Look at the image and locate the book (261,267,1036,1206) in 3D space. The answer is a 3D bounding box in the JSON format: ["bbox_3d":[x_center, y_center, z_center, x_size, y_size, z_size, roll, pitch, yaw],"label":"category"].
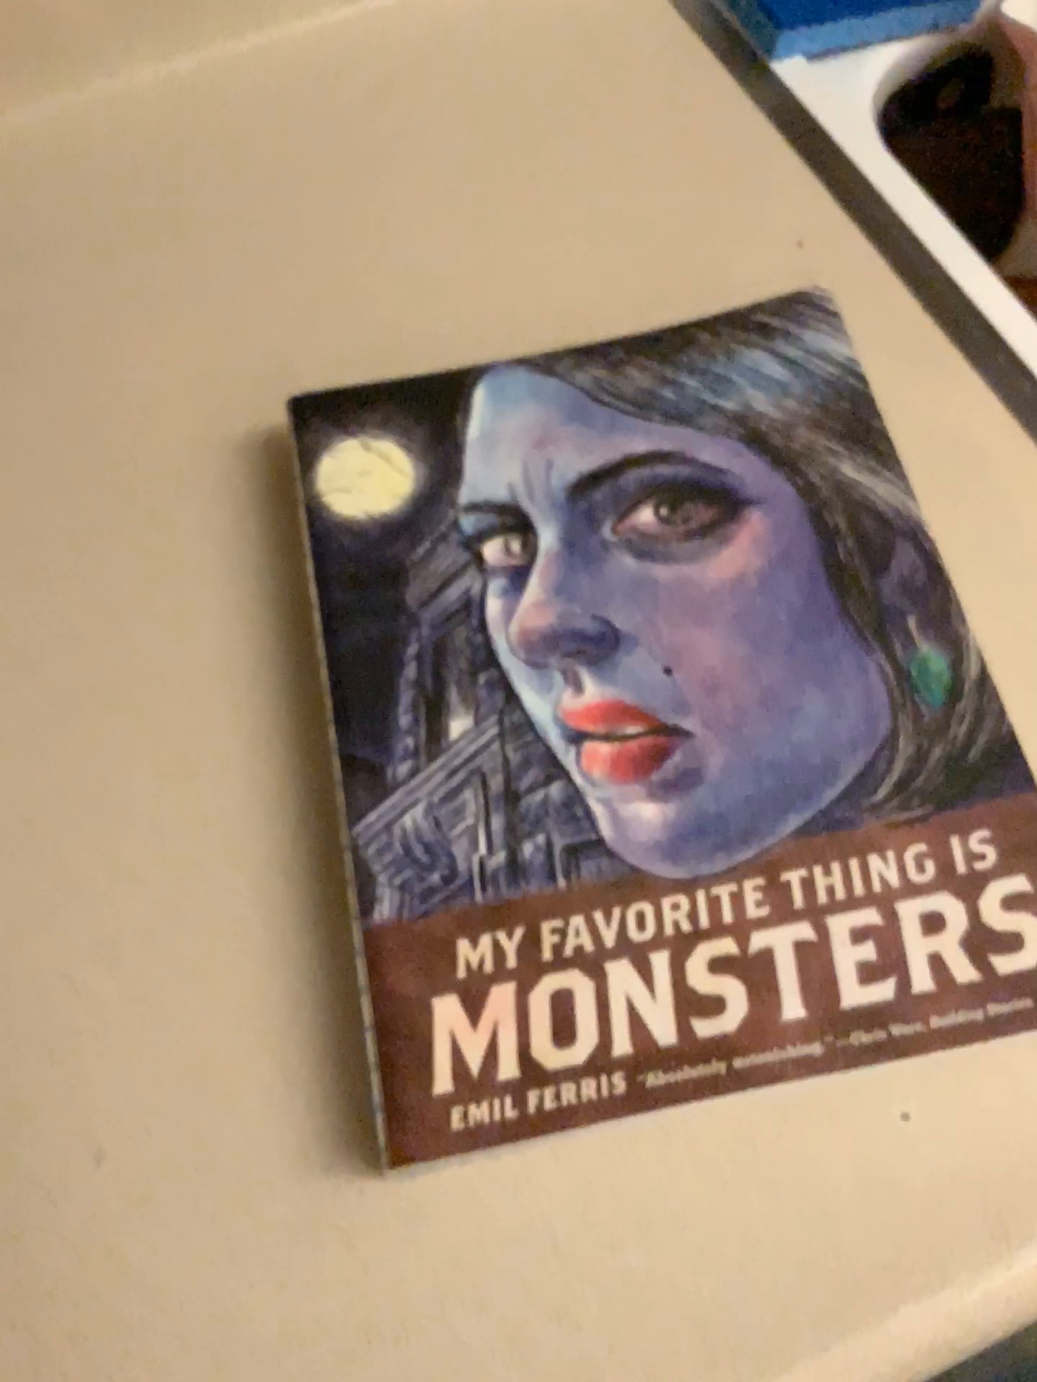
[{"bbox_3d":[0.037,-0.006,0.368,0.200,0.040,0.270,-12,63,-3],"label":"book"}]
